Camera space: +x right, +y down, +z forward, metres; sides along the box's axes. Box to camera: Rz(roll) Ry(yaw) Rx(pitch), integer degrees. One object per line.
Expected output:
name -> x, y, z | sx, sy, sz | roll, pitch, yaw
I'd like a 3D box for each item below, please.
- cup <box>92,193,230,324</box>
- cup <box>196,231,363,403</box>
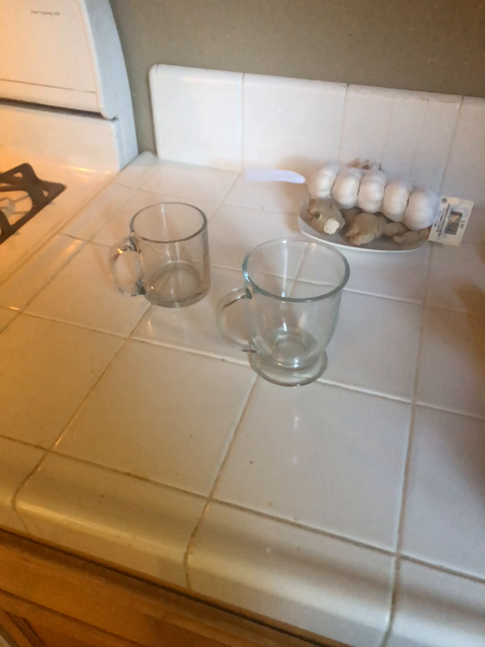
cup -> -0.092, -0.077, 0.613 | 0.130, 0.089, 0.091 | -14, 44, -14
cup -> 0.029, -0.007, 0.510 | 0.130, 0.119, 0.091 | -7, 43, -7
